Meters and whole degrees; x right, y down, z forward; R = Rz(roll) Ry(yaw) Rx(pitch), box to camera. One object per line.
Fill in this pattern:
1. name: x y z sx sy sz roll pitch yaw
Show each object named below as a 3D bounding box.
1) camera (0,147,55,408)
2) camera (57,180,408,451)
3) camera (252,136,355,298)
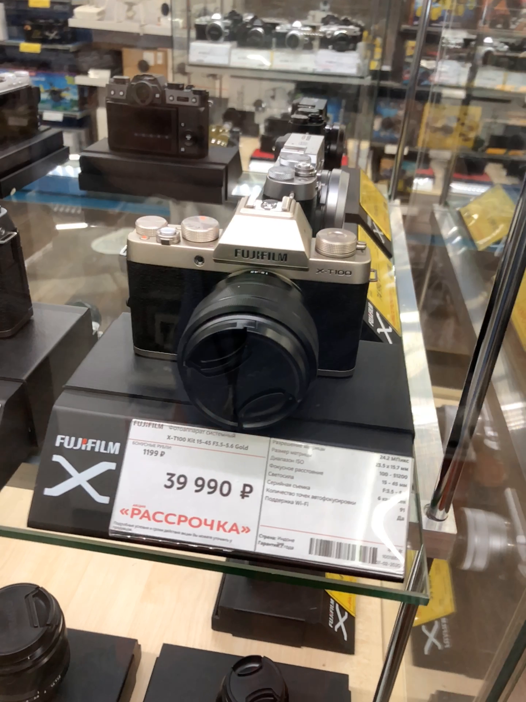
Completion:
1. camera: -0.203 -0.044 0.303 0.140 0.086 0.103 7 31 5
2. camera: -0.010 -0.023 0.280 0.131 0.080 0.101 6 31 3
3. camera: 0.033 -0.106 0.437 0.054 0.076 0.132 8 32 7
